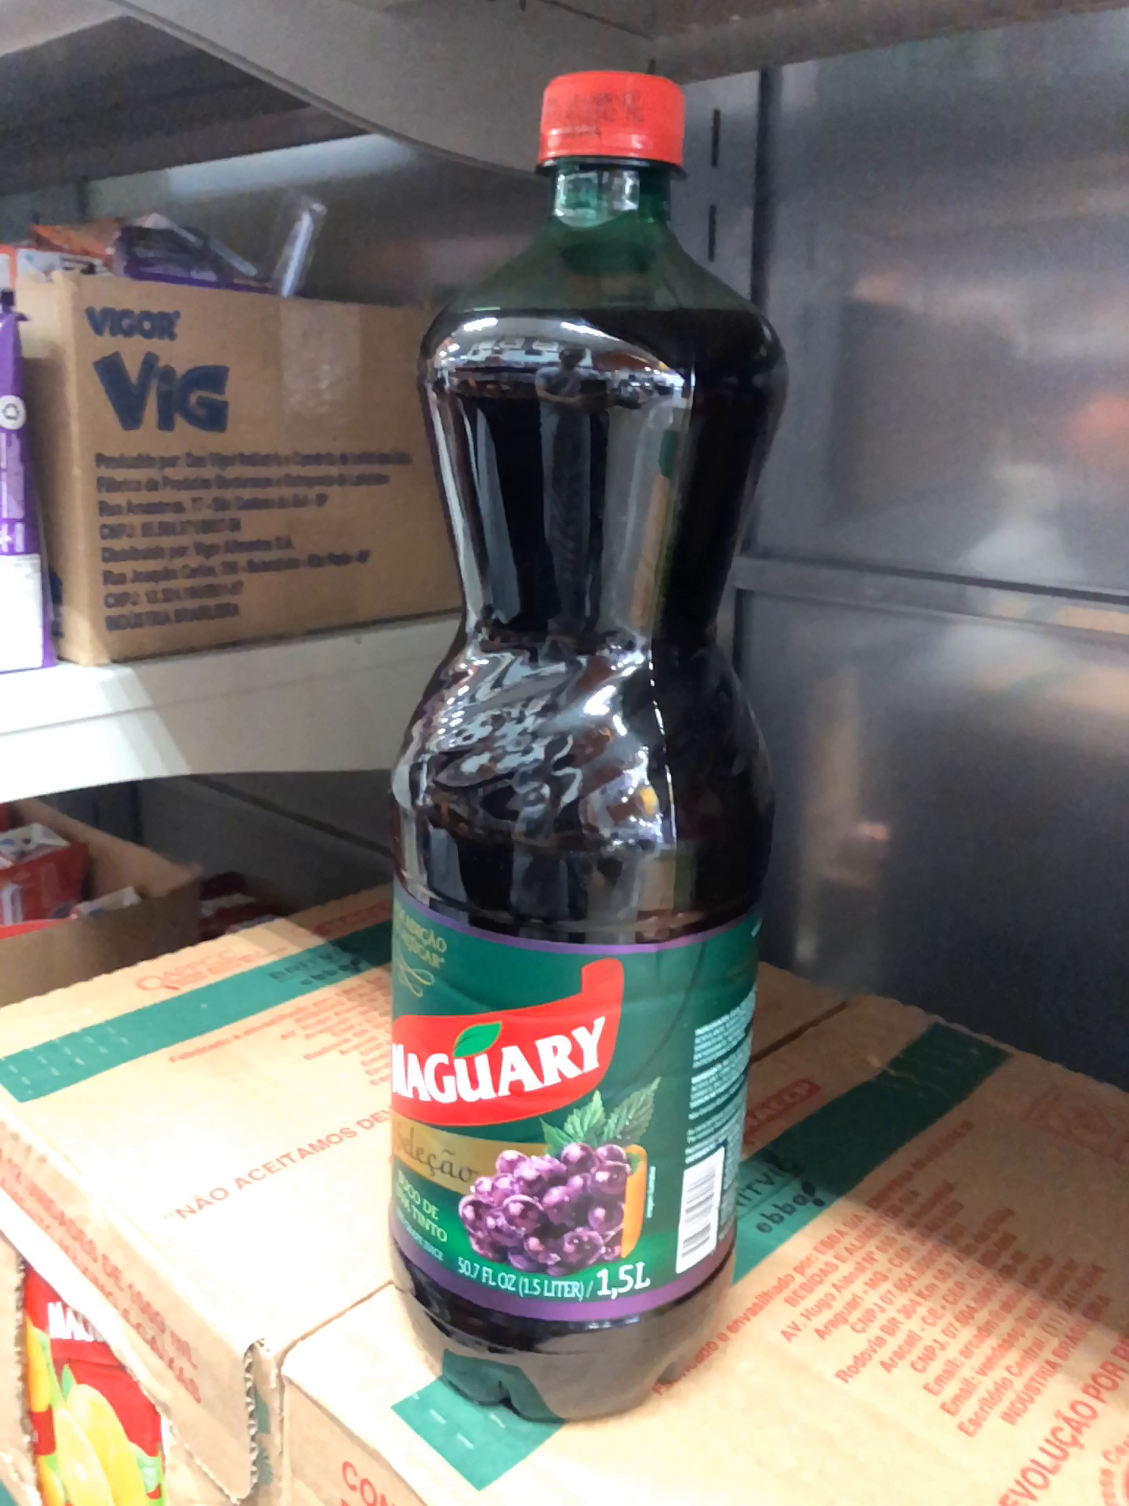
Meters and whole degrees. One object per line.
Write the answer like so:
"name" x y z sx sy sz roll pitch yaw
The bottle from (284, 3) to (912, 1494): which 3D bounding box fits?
"bottle" 0.005 0.005 0.289 0.100 0.288 0.080 10 18 25
